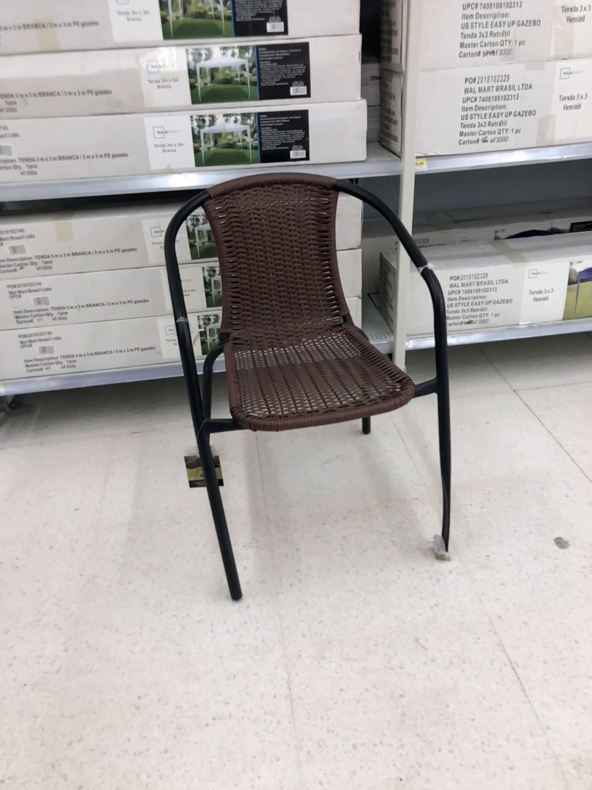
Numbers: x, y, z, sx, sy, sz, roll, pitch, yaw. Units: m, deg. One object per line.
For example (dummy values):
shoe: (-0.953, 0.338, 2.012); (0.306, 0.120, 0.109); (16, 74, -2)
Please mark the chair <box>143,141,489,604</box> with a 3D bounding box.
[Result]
chair: (0.007, -0.082, 1.327); (0.480, 0.715, 0.534); (-10, 31, -12)
